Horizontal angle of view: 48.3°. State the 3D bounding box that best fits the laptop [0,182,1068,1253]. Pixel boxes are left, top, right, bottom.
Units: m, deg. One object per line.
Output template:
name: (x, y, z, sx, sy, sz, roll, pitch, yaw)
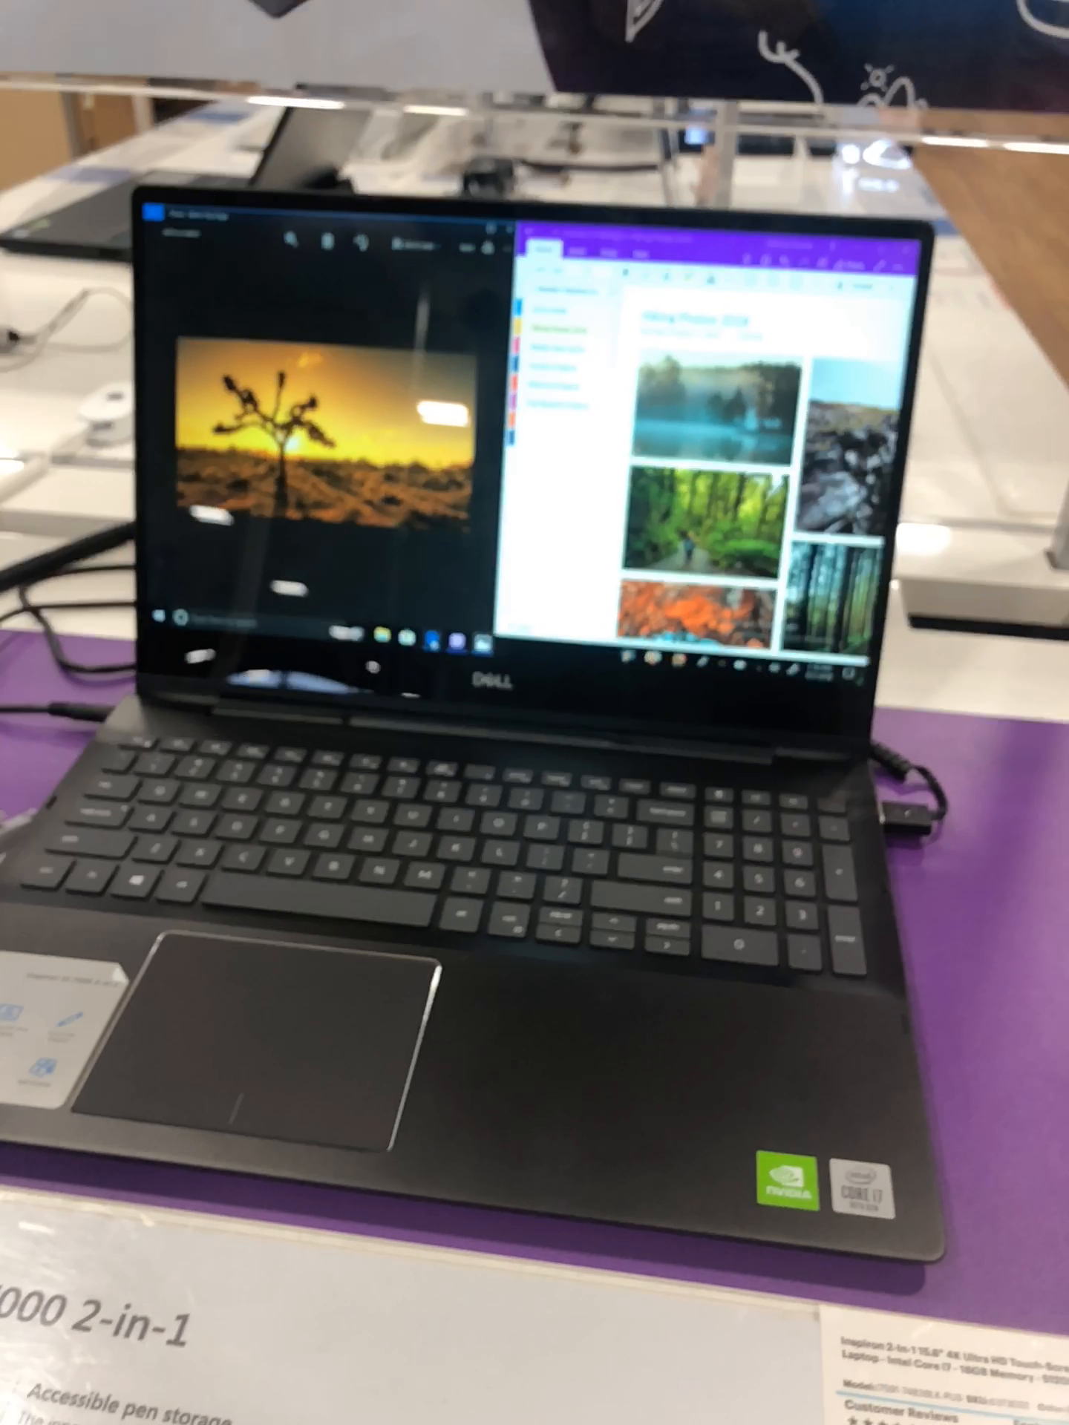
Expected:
laptop: (-0.030, -0.039, 0.429, 0.340, 0.207, 0.325, 5, 34, 5)
